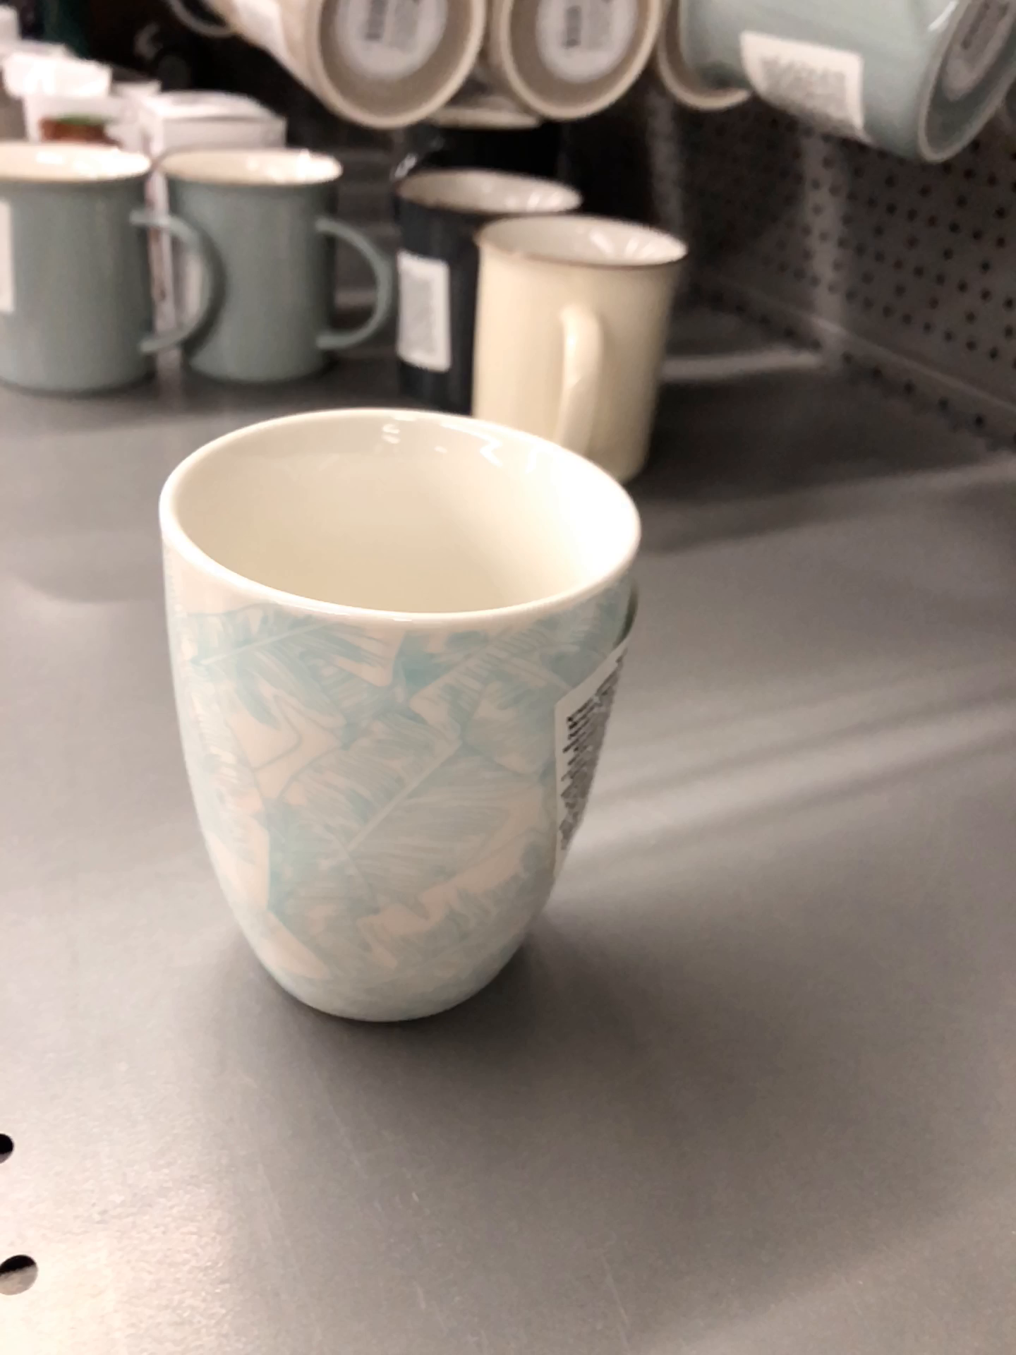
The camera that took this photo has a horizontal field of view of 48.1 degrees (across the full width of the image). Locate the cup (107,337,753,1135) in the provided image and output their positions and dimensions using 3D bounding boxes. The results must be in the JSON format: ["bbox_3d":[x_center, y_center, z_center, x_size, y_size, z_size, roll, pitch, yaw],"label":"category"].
[{"bbox_3d":[-0.025,0.001,0.235,0.083,0.098,0.121,-11,36,-20],"label":"cup"}]
